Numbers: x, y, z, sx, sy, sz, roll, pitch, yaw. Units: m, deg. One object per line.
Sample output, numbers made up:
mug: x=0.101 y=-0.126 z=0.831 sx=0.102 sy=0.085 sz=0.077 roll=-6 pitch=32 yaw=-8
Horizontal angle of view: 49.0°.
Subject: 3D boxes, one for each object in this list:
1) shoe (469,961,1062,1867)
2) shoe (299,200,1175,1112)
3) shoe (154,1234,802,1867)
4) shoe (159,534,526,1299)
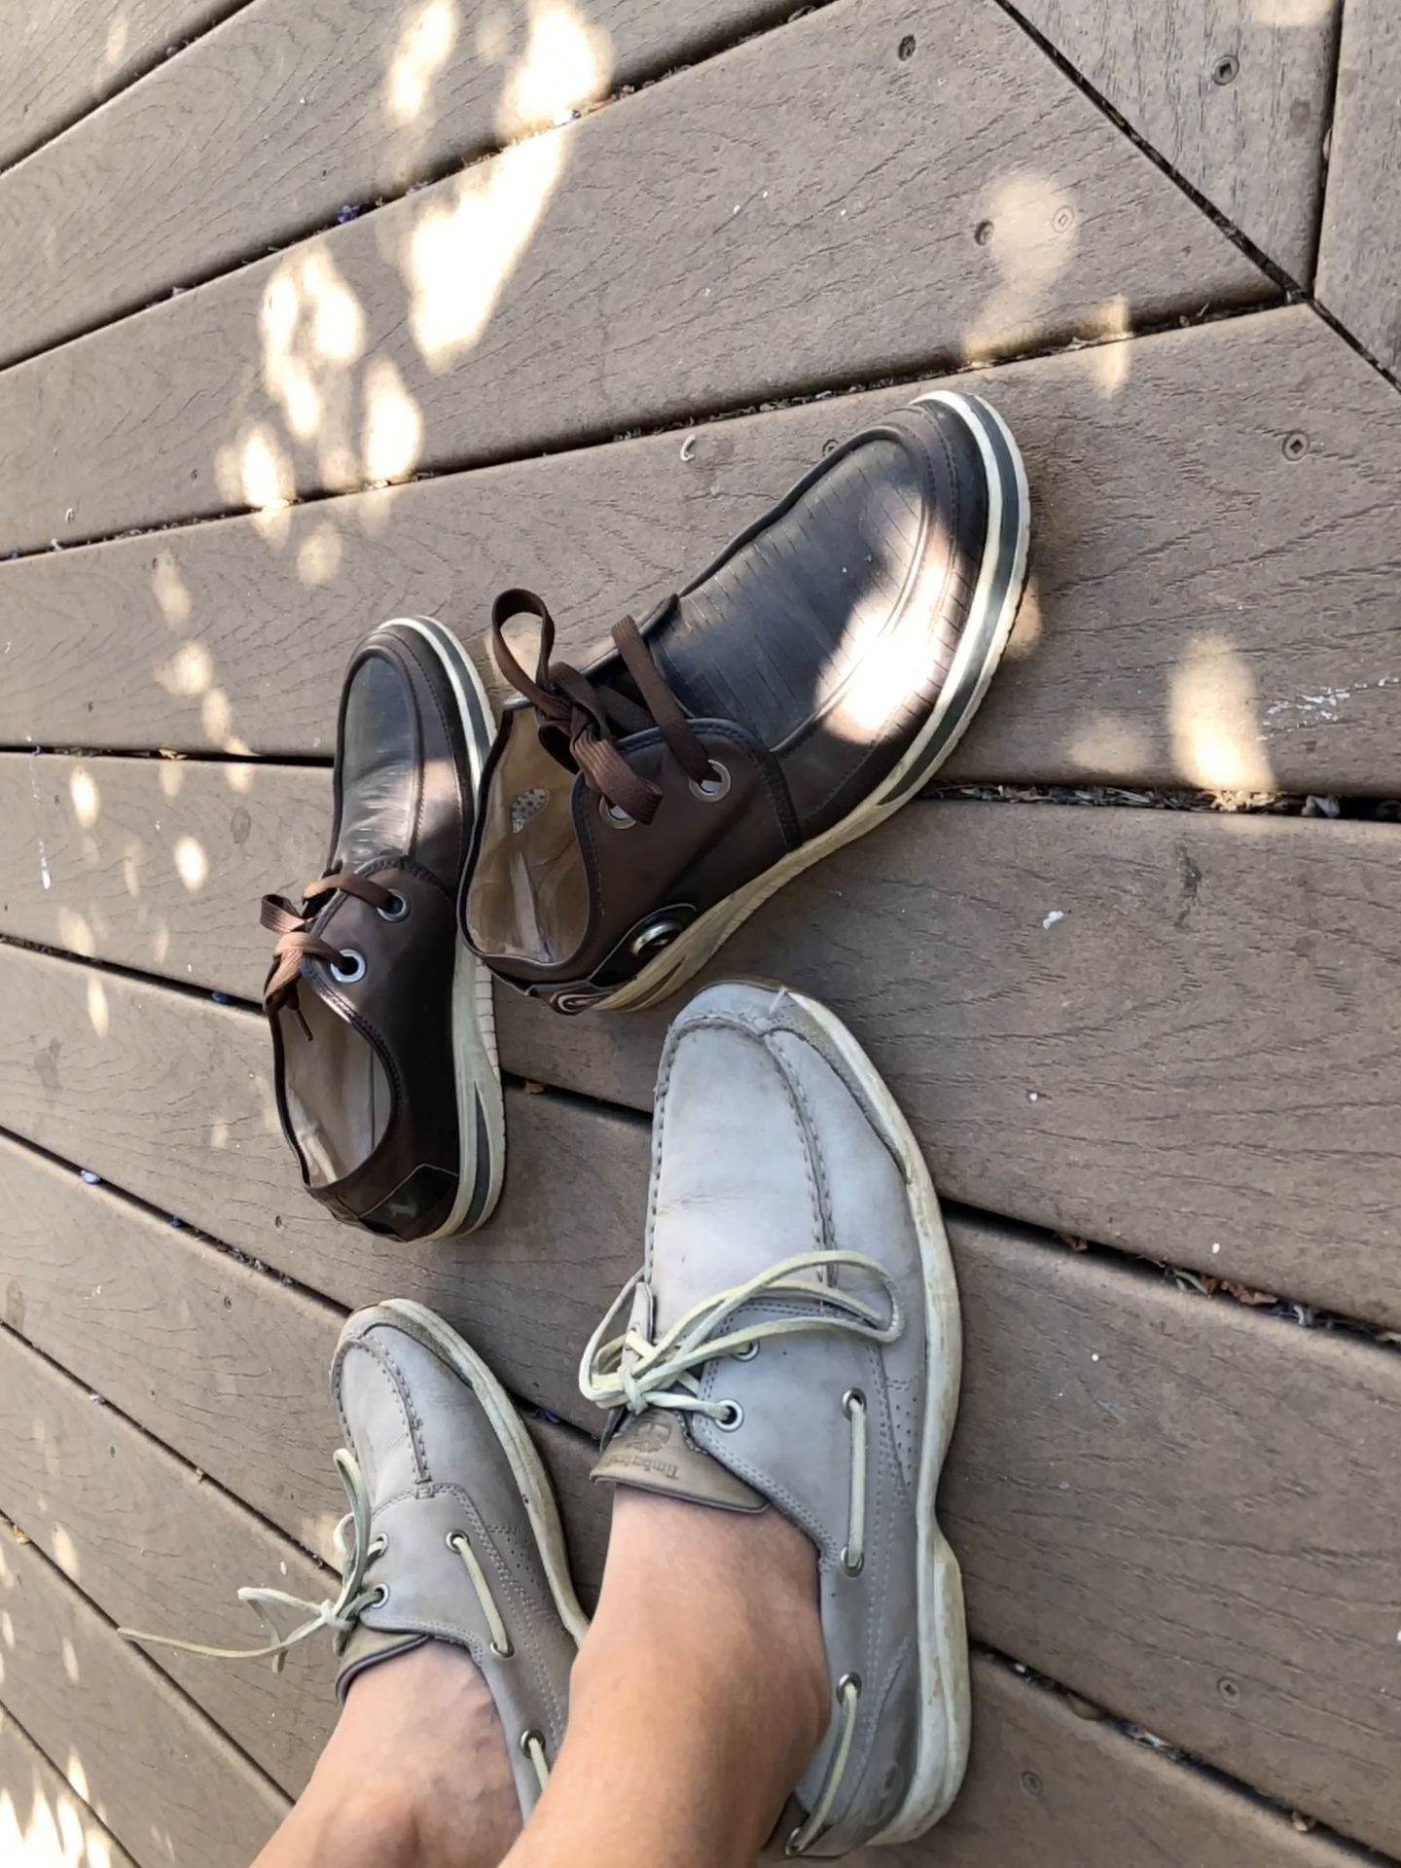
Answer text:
shoe: x=0.018 y=0.168 z=0.510 sx=0.111 sy=0.111 sz=0.303 roll=-15 pitch=79 yaw=45
shoe: x=-0.009 y=-0.069 z=0.526 sx=0.304 sy=0.111 sz=0.110 roll=-46 pitch=59 yaw=36
shoe: x=-0.108 y=0.284 z=0.642 sx=0.304 sy=0.111 sz=0.110 roll=50 pitch=124 yaw=34
shoe: x=-0.161 y=-0.006 z=0.687 sx=0.111 sy=0.111 sz=0.303 roll=-4 pitch=87 yaw=46
